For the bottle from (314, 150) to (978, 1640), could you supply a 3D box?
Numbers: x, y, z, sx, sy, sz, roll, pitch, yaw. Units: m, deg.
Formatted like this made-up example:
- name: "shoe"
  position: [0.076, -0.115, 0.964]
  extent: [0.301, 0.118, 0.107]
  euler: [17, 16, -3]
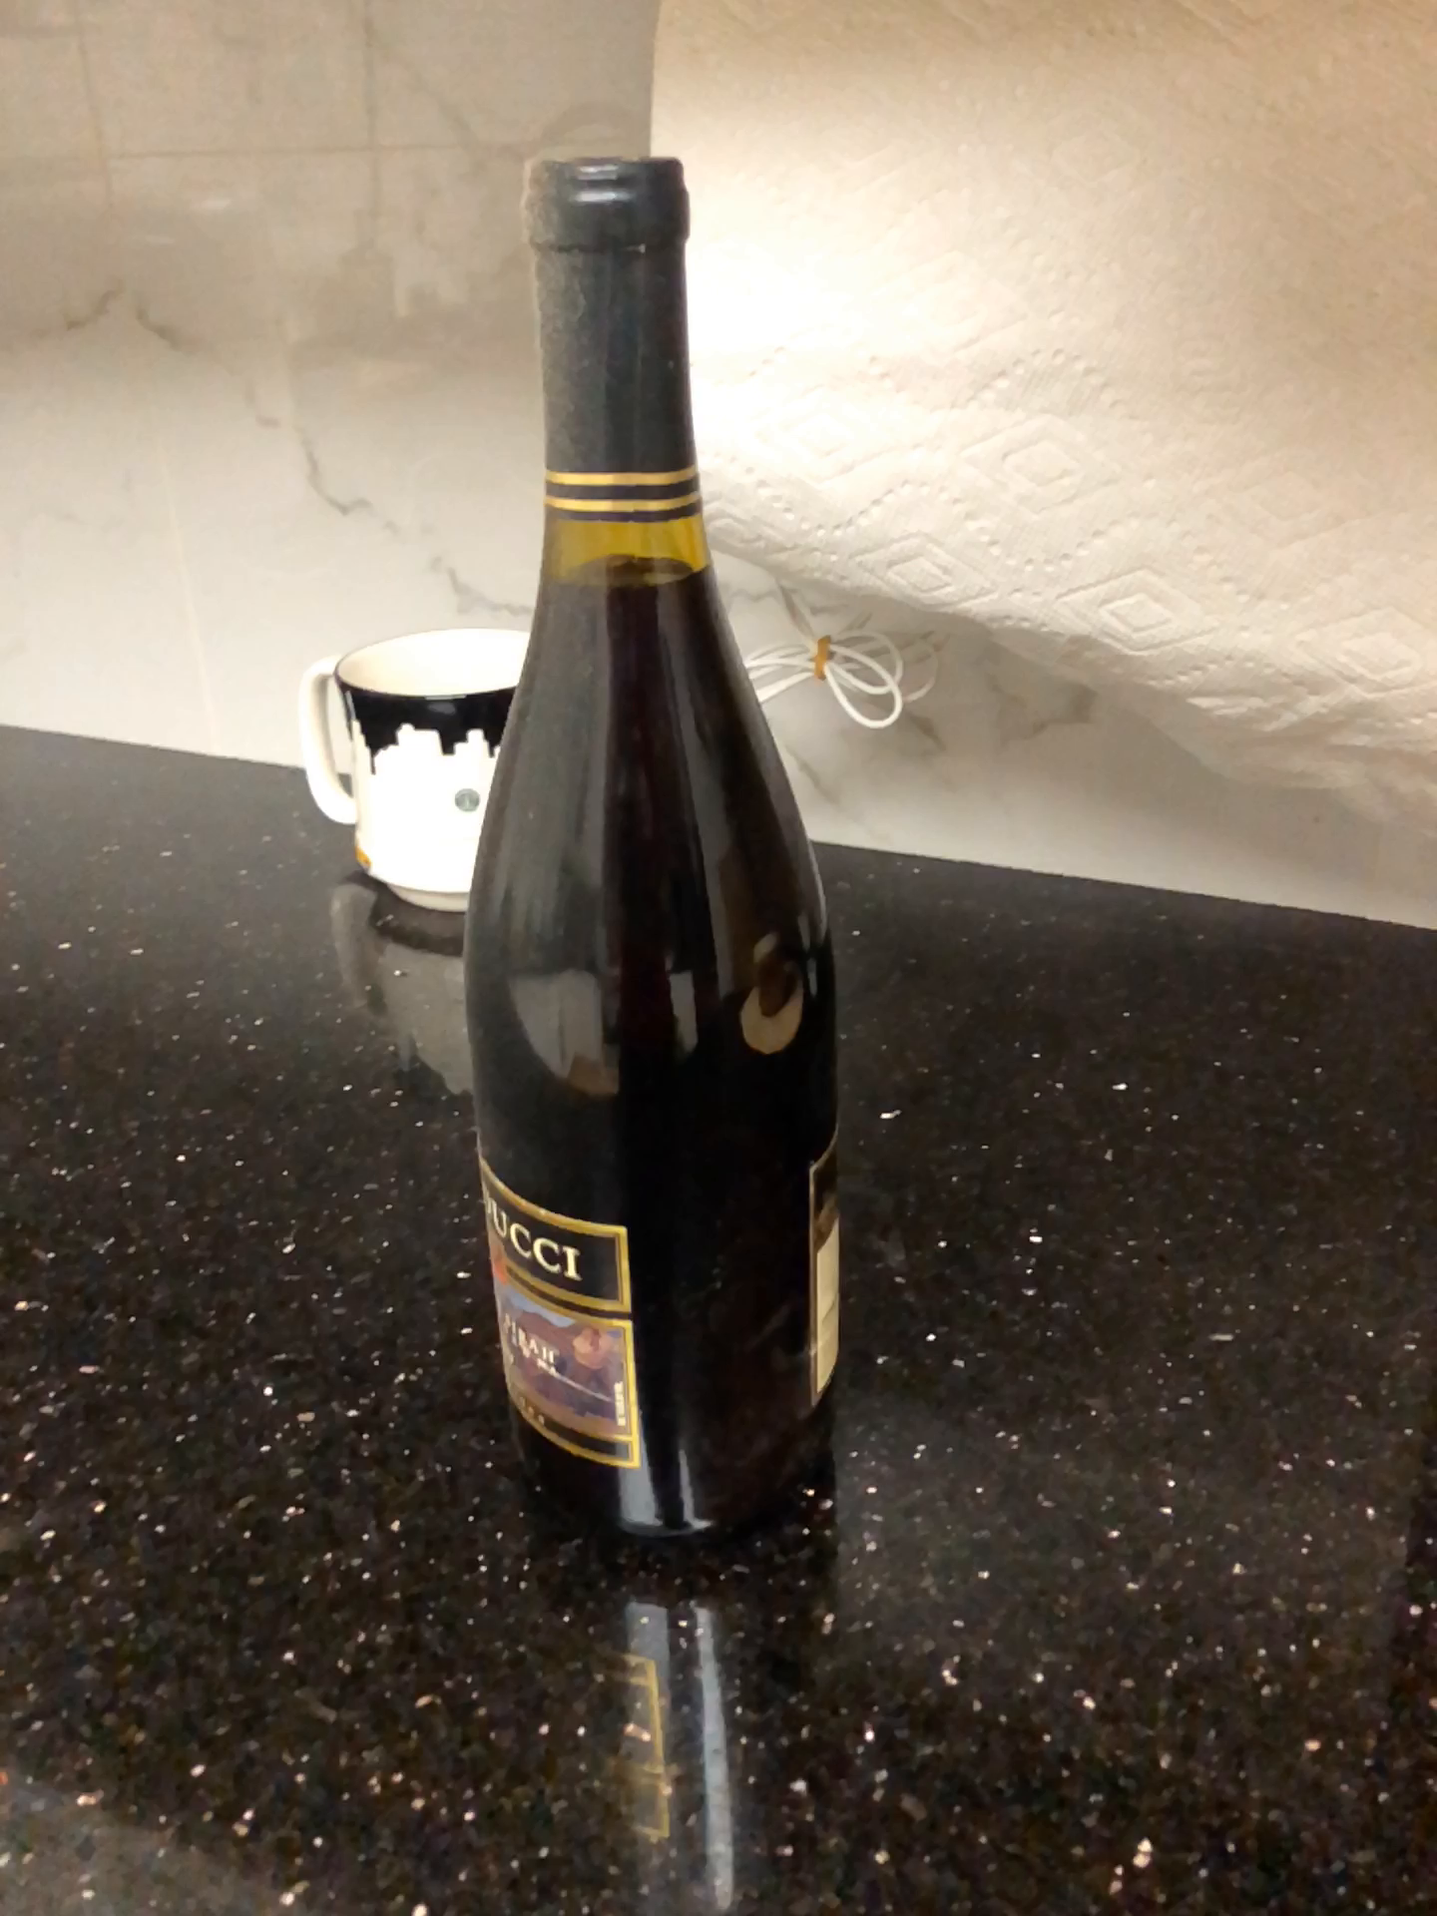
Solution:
- name: "bottle"
  position: [-0.013, -0.006, 0.345]
  extent: [0.090, 0.298, 0.090]
  euler: [-2, 27, 1]
